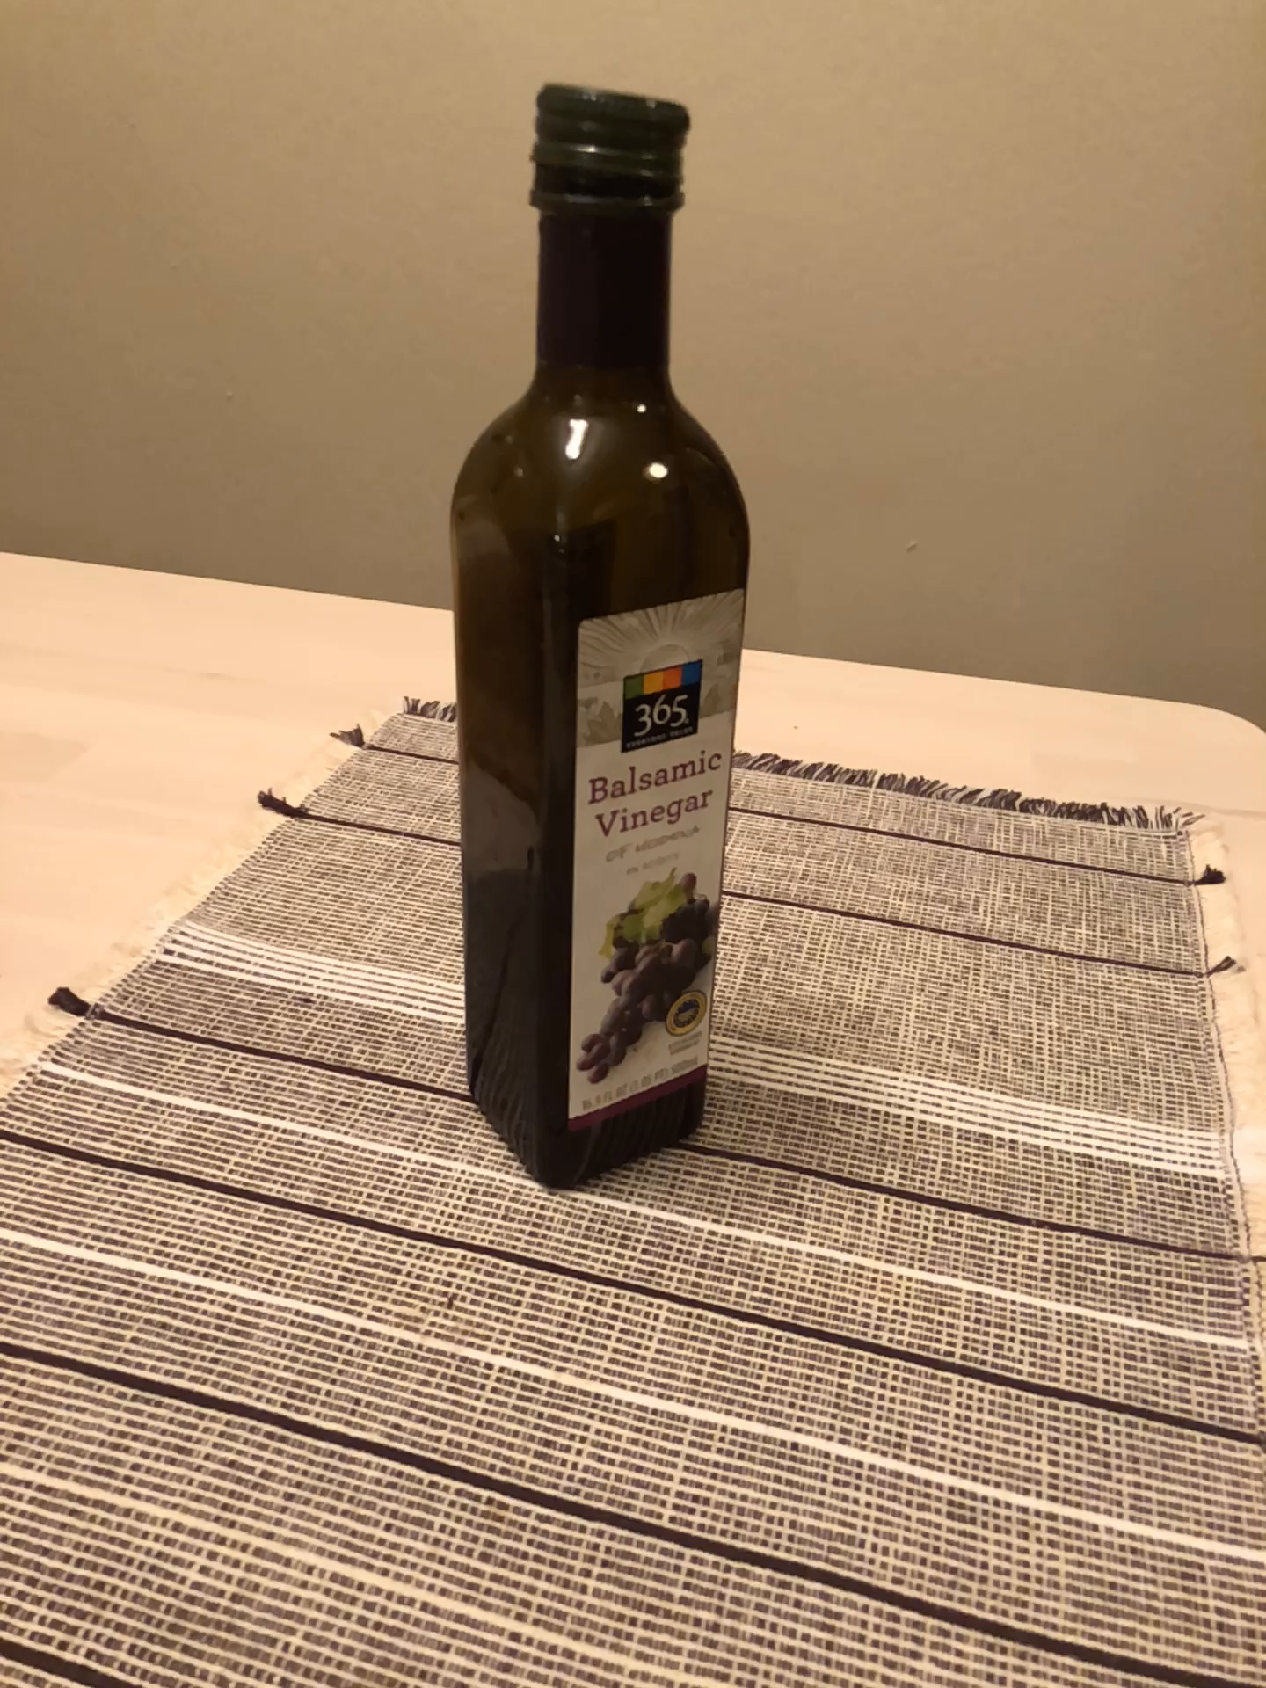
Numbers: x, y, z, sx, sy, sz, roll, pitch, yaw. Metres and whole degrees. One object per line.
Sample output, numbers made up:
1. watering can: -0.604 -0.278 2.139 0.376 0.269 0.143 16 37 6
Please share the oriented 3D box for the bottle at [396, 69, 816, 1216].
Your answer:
1. bottle: -0.011 -0.037 0.338 0.060 0.261 0.060 2 29 -1
